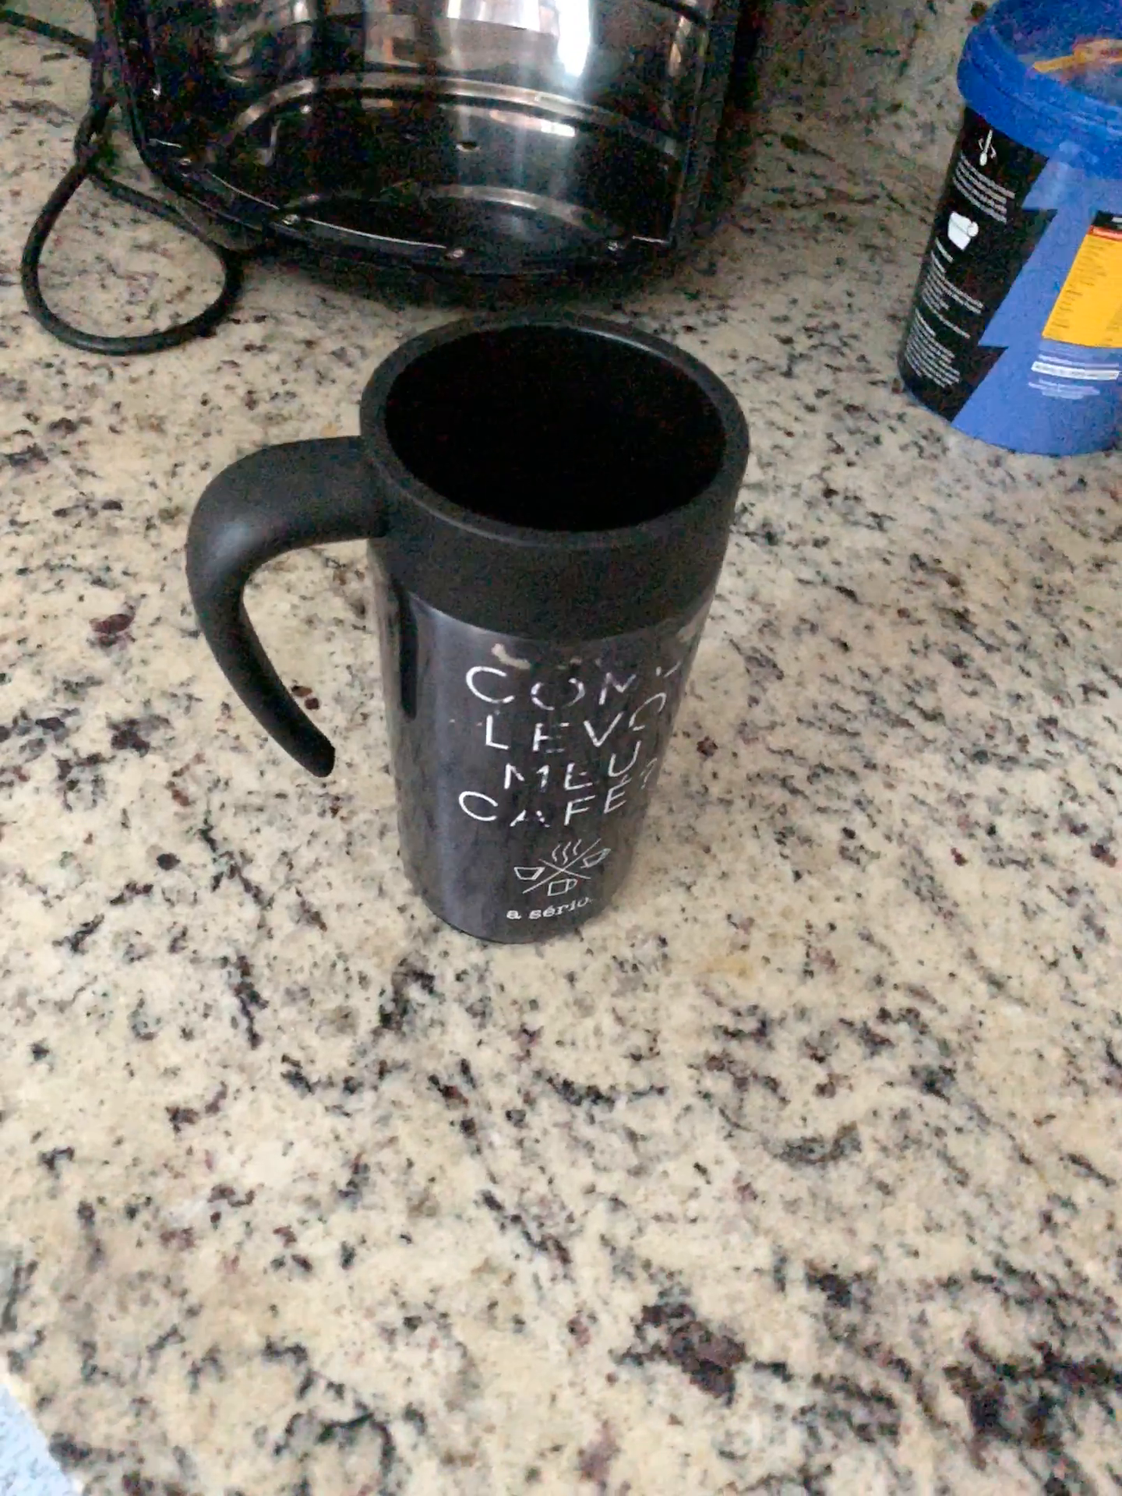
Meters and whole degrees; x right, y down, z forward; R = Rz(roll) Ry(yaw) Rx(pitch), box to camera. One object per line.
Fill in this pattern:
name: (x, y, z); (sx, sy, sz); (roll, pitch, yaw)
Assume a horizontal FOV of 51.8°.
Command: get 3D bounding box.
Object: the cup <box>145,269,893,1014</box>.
cup: (-0.017, -0.019, 0.263); (0.120, 0.139, 0.080); (-8, 52, -13)
